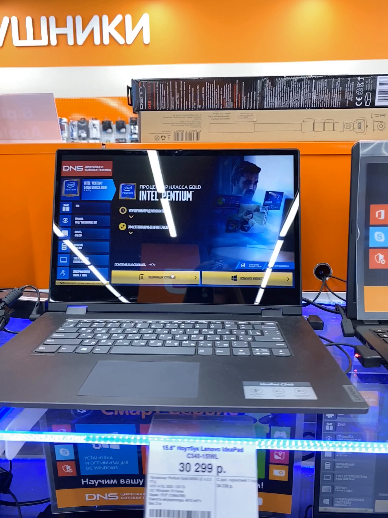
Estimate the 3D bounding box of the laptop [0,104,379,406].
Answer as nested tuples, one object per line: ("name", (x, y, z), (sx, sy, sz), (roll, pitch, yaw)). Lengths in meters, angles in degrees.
("laptop", (-0.042, -0.023, 0.465), (0.362, 0.232, 0.318), (1, 9, 1))
